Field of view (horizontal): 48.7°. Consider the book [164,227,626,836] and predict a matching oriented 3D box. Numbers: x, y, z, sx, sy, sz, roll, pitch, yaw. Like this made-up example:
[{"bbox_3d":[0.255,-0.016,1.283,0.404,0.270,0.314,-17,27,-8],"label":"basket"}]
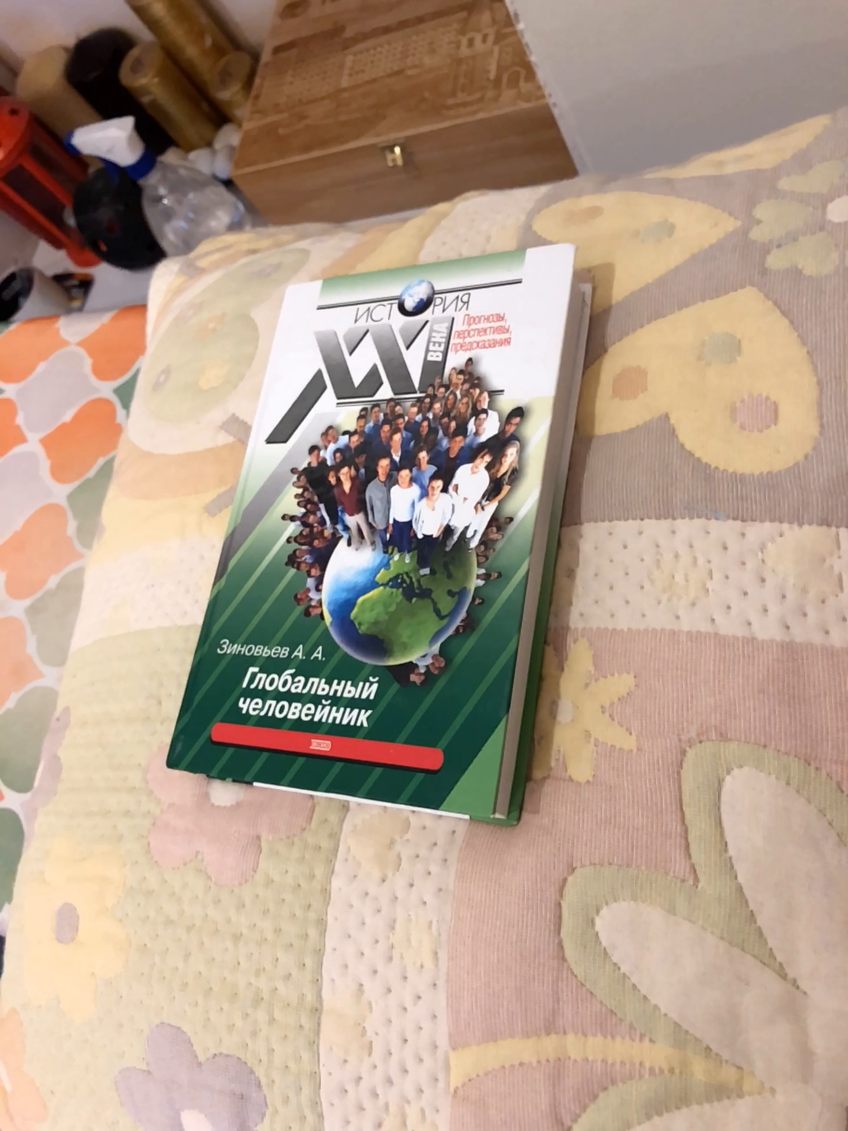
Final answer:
[{"bbox_3d":[-0.007,-0.018,0.347,0.133,0.036,0.207,1,70,28],"label":"book"}]
